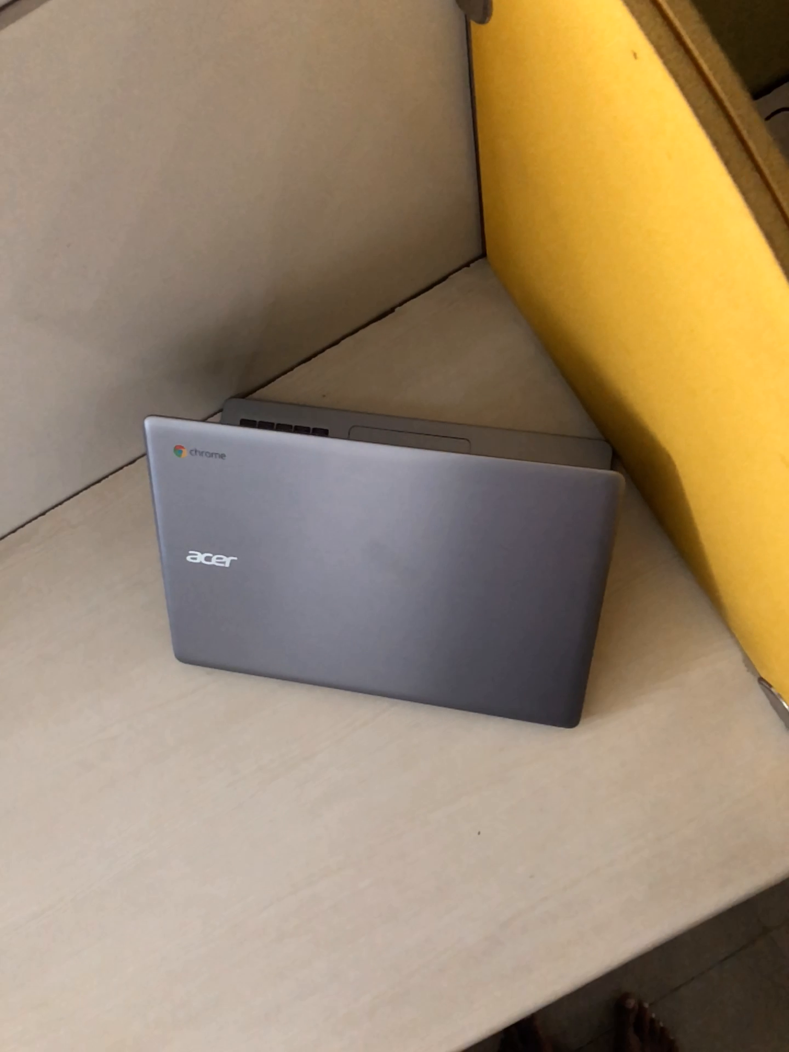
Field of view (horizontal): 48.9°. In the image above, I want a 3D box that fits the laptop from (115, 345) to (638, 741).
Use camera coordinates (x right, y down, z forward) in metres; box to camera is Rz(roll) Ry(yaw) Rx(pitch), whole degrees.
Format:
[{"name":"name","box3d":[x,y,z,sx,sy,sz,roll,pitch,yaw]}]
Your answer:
[{"name":"laptop","box3d":[-0.006,0.013,0.635,0.314,0.135,0.221,8,83,9]}]
